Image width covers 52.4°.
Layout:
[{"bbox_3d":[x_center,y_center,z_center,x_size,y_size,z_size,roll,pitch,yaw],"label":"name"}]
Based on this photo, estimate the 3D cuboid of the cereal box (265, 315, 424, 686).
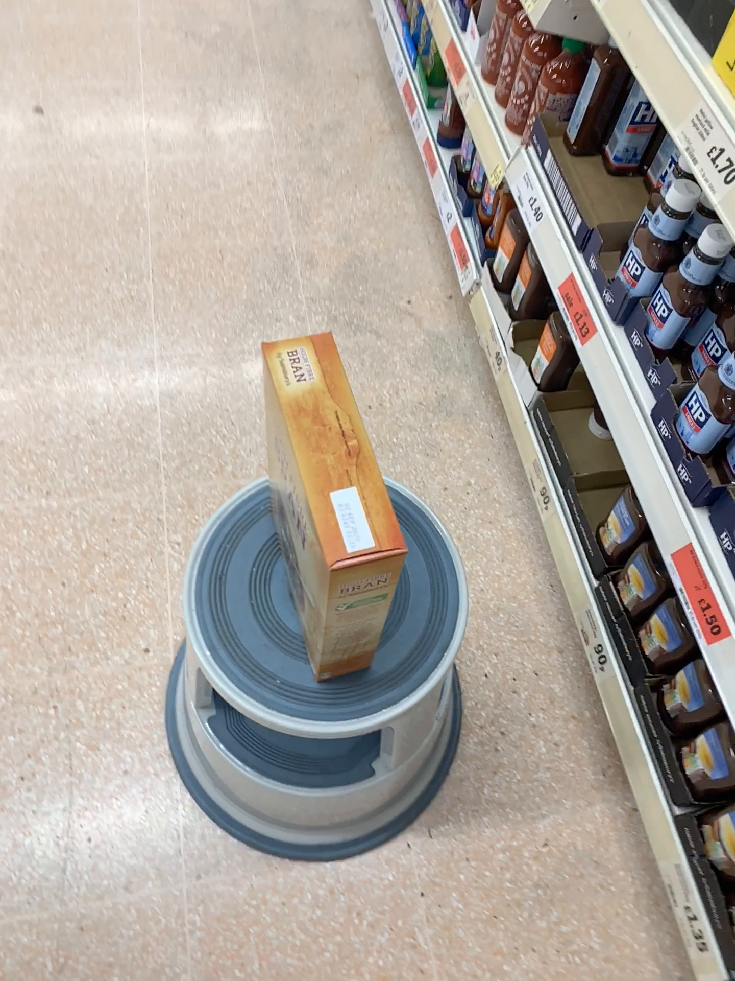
[{"bbox_3d":[-0.032,0.024,0.645,0.060,0.278,0.201,-12,61,-12],"label":"cereal box"}]
